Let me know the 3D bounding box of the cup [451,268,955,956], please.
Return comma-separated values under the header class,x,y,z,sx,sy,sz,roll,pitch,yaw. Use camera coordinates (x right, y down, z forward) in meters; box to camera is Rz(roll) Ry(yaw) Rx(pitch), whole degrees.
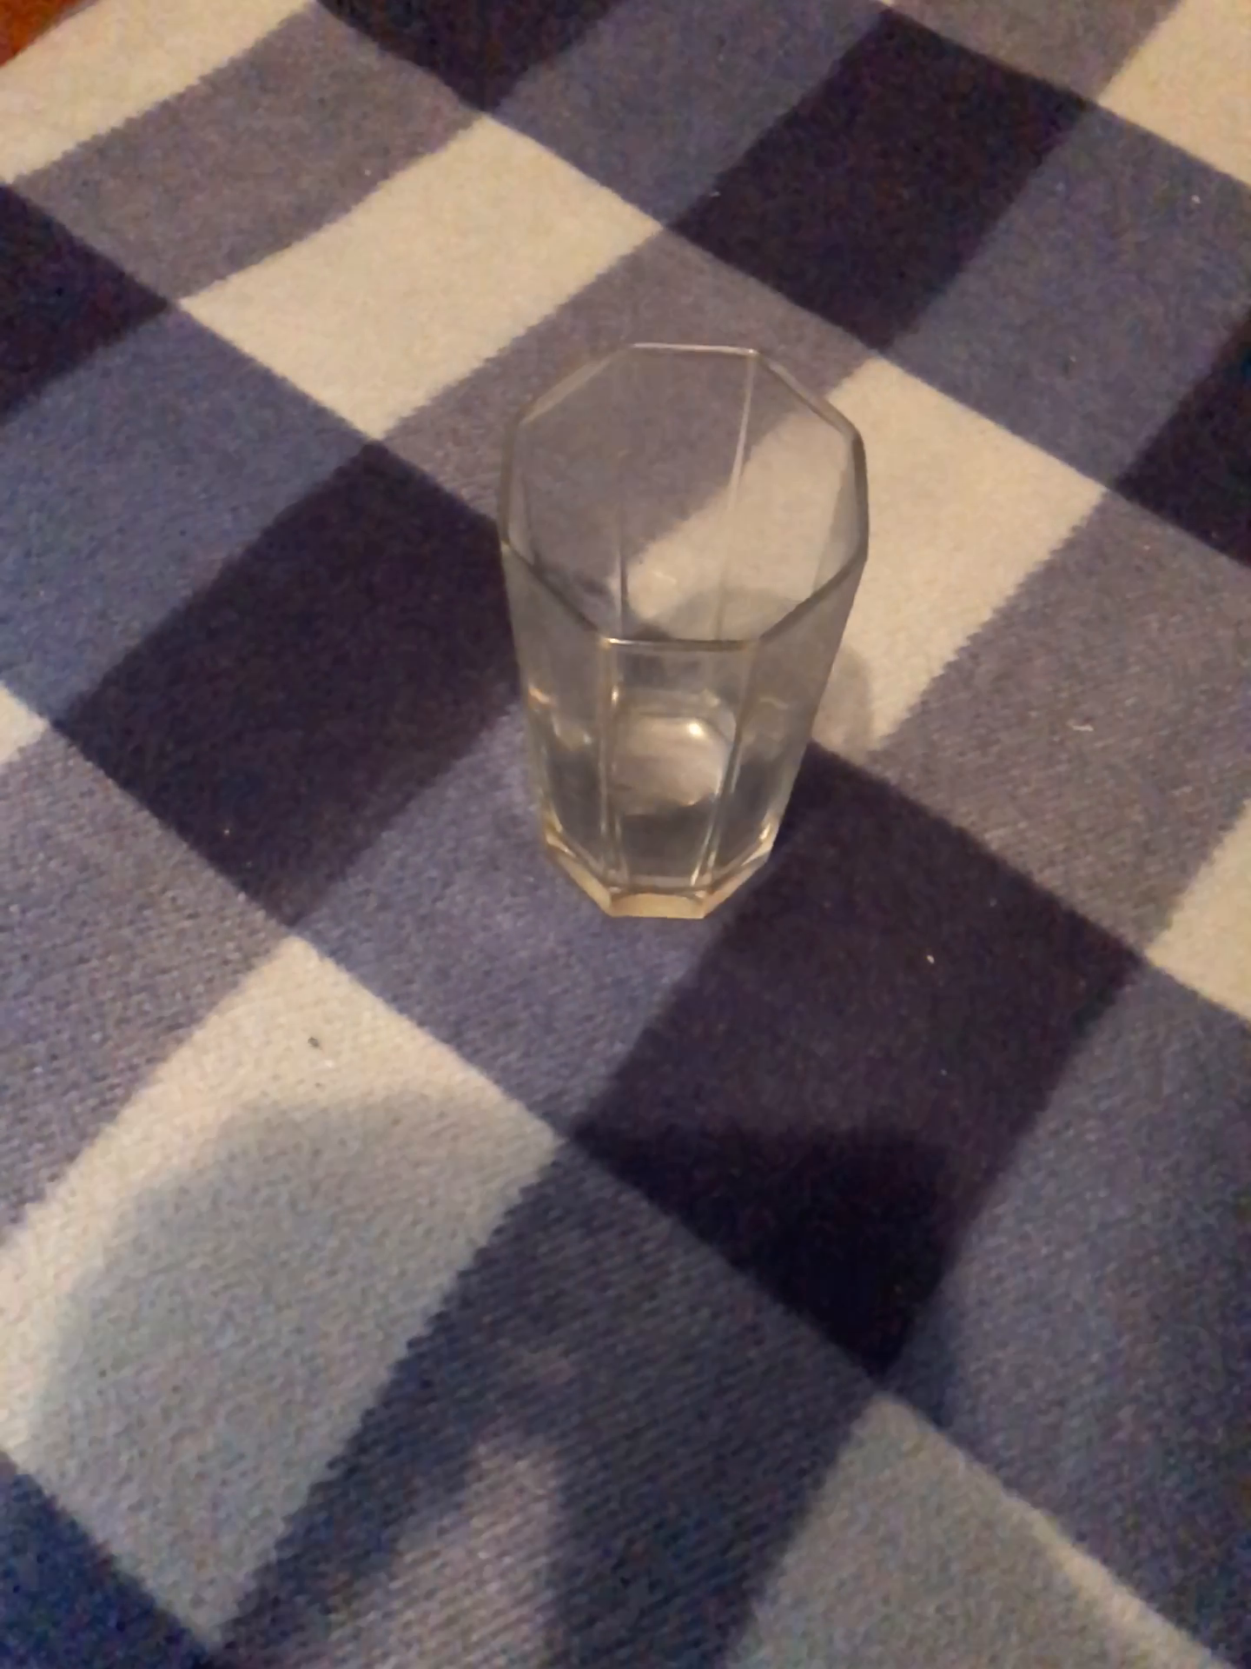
class,x,y,z,sx,sy,sz,roll,pitch,yaw
cup,0.009,-0.040,0.311,0.077,0.137,0.082,1,65,-2
